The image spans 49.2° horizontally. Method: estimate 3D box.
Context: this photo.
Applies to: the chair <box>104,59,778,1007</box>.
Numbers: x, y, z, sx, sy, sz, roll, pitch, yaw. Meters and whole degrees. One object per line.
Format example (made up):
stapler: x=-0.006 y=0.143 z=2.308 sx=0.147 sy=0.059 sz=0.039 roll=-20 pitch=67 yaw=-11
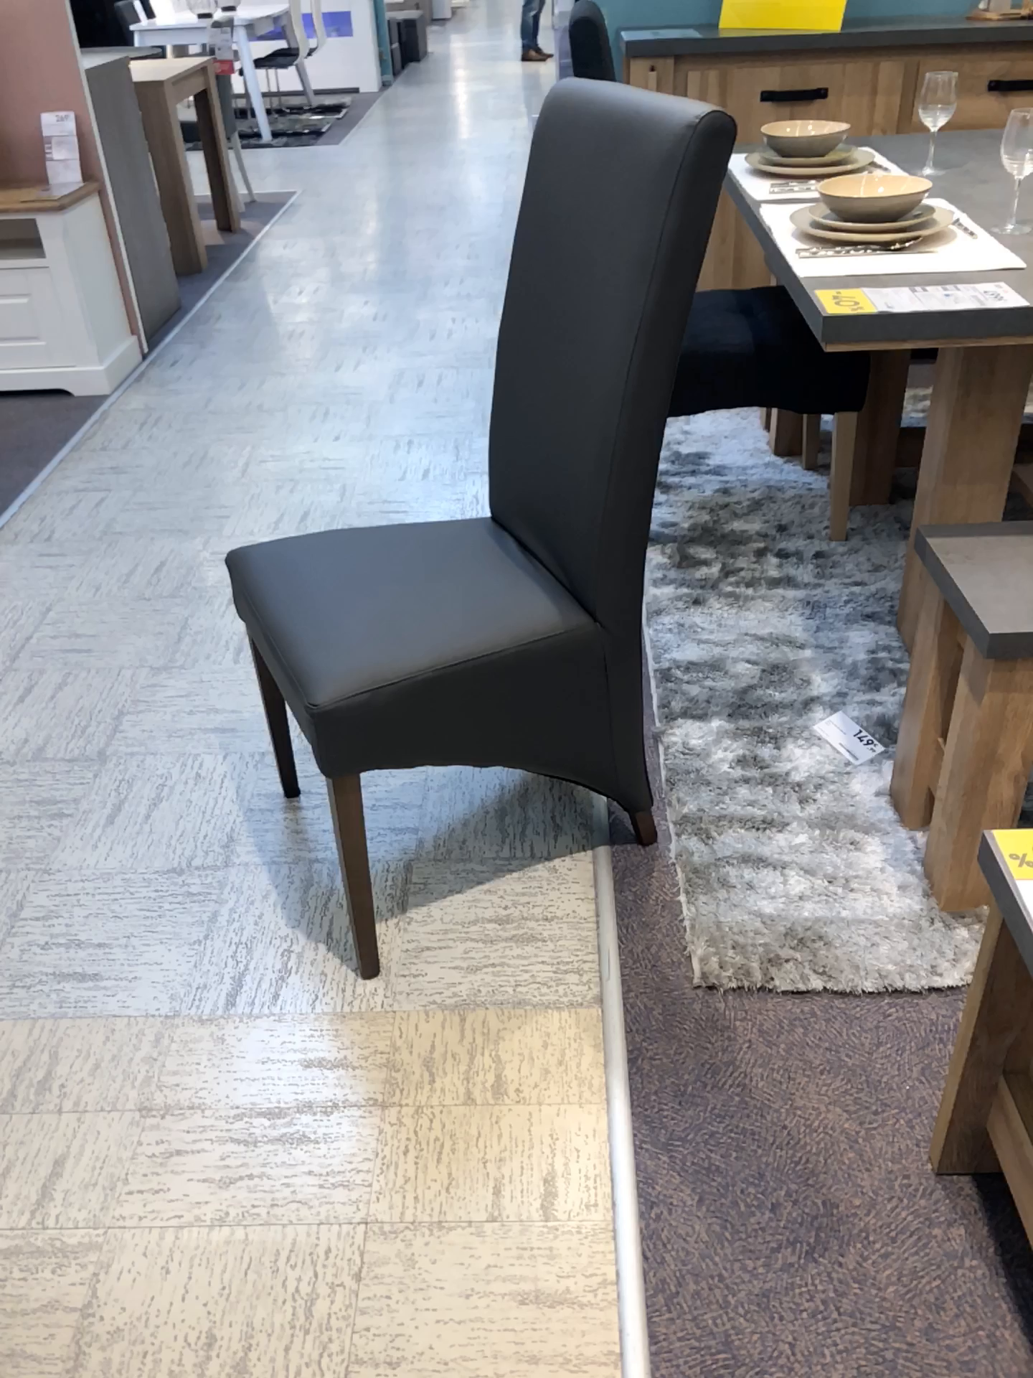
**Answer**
chair: x=-0.095 y=-0.215 z=1.481 sx=0.571 sy=1.014 sz=0.522 roll=-15 pitch=35 yaw=-20
